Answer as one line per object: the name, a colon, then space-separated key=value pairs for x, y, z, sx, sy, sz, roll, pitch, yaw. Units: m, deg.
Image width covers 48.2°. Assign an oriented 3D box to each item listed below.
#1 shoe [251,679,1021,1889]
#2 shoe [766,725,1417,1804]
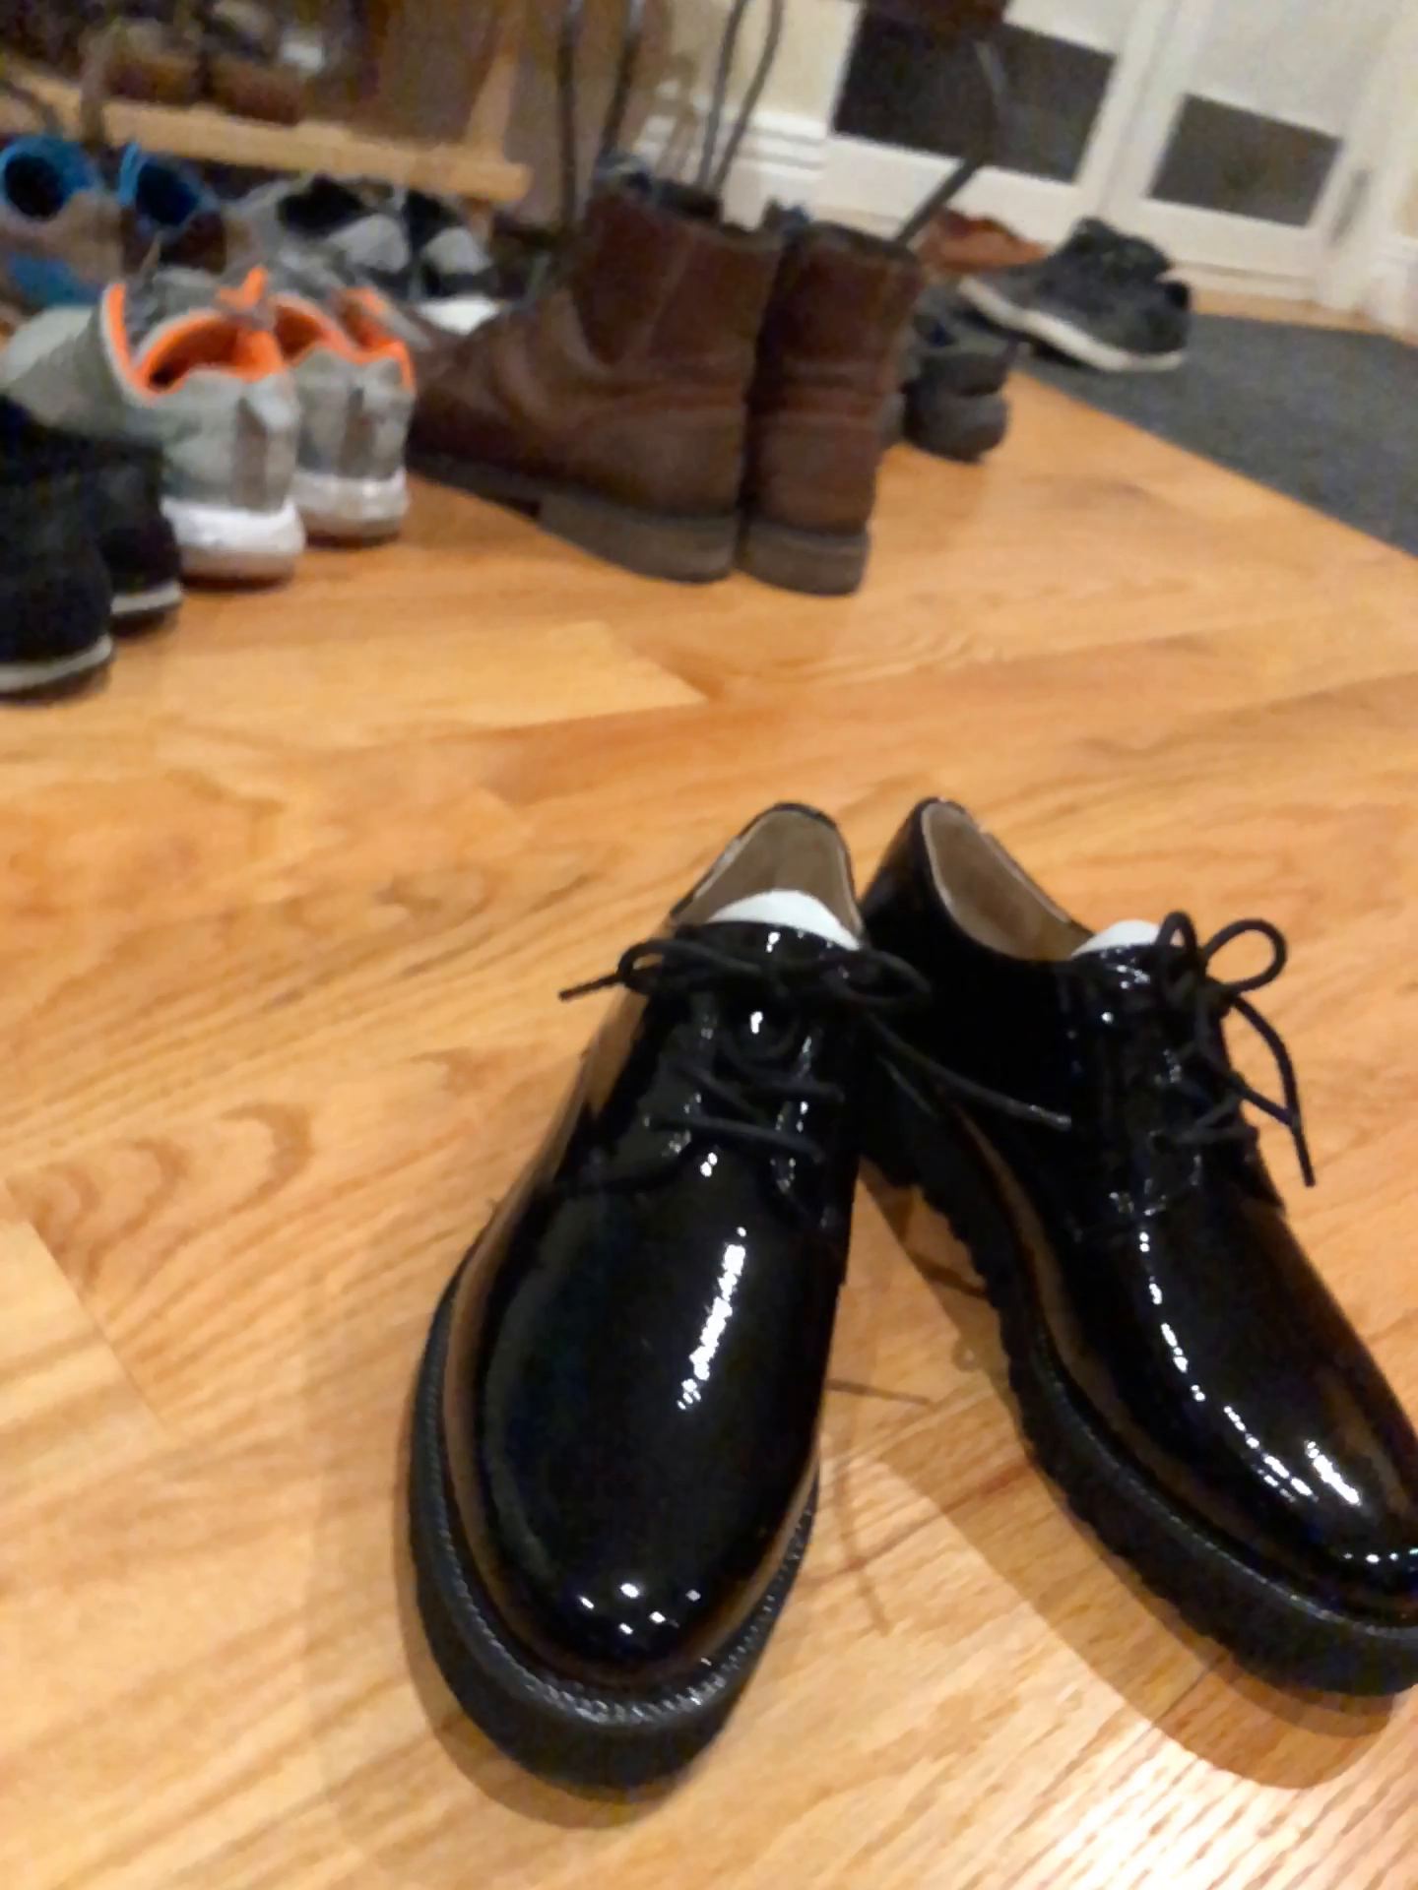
shoe: x=0.003 y=0.046 z=0.349 sx=0.095 sy=0.101 sz=0.252 roll=18 pitch=32 yaw=2
shoe: x=0.116 y=0.053 z=0.396 sx=0.095 sy=0.101 sz=0.252 roll=0 pitch=35 yaw=-25
